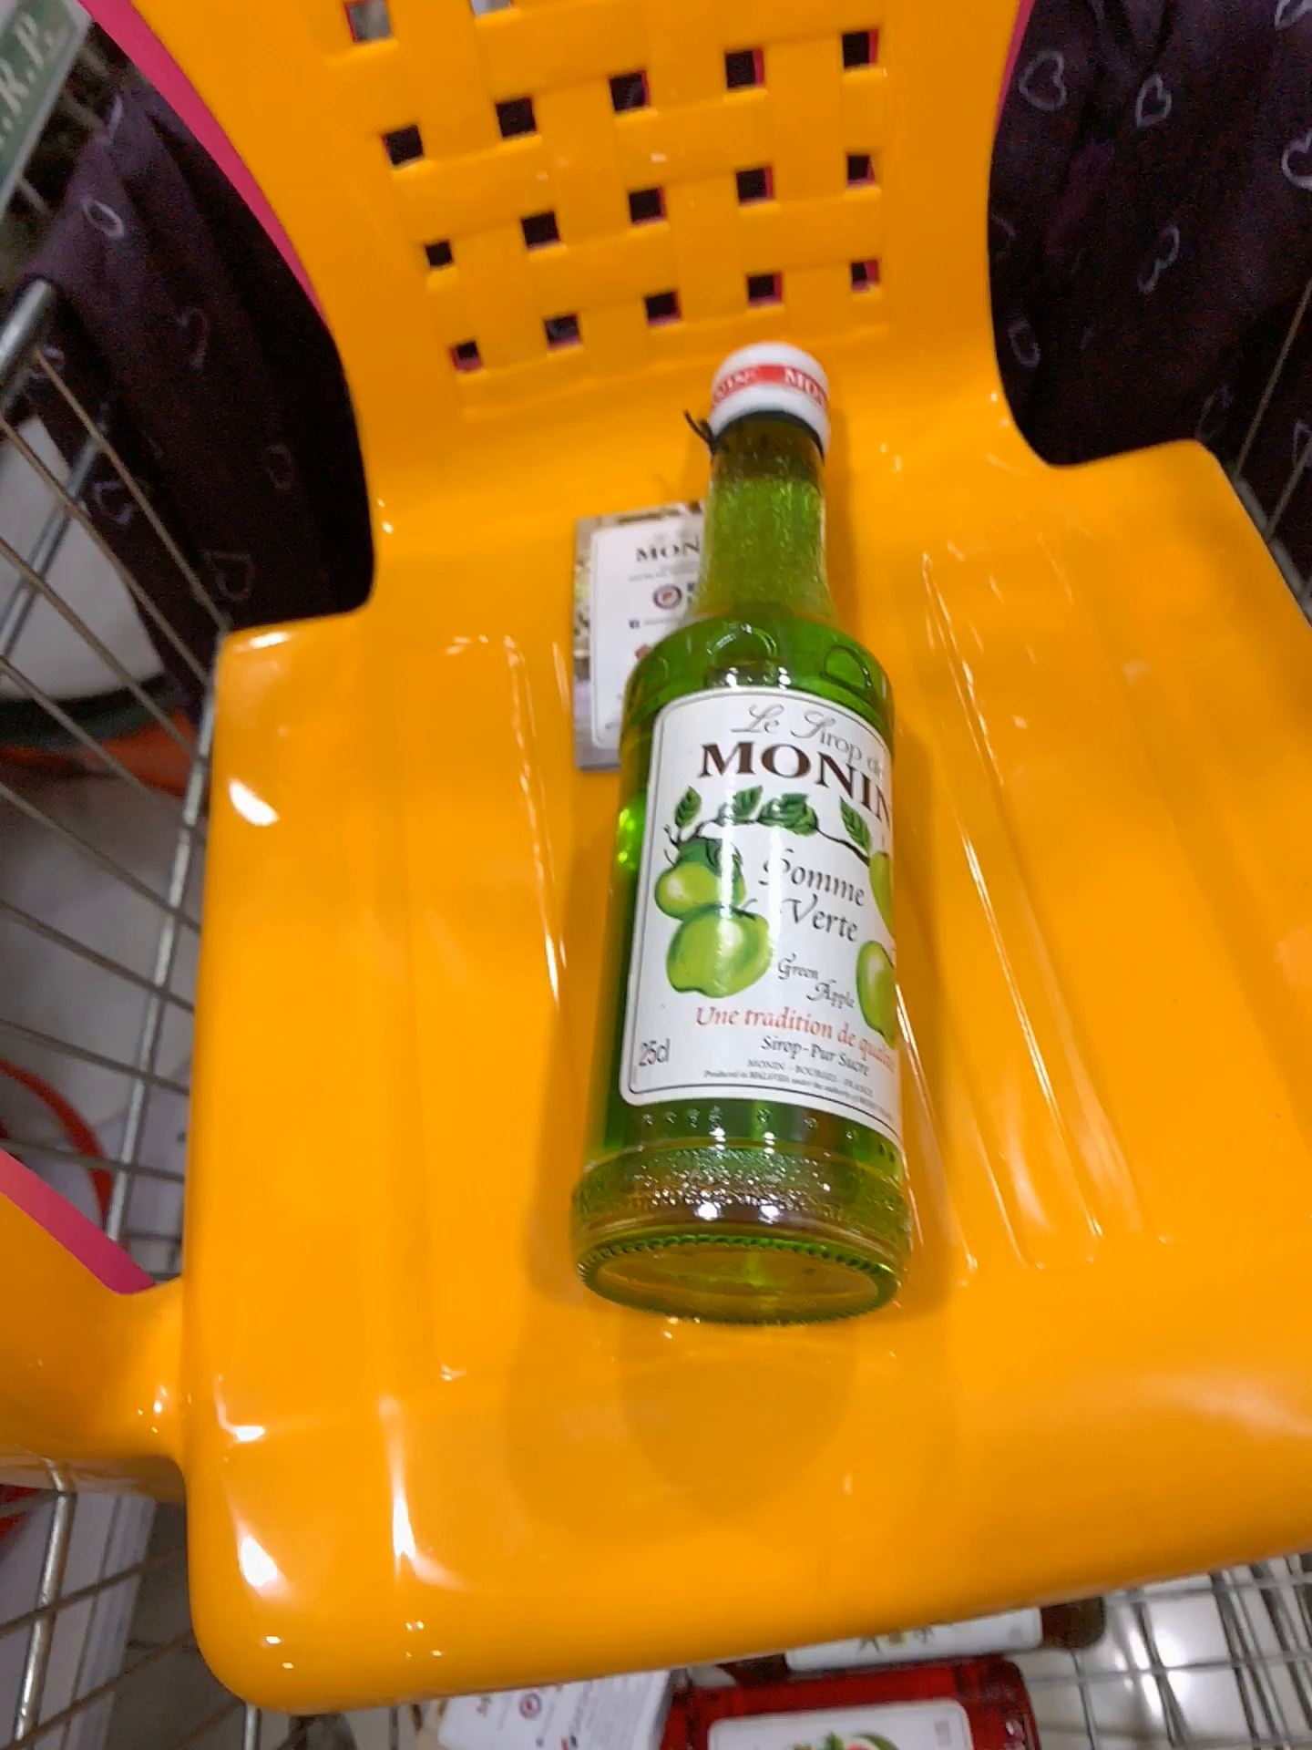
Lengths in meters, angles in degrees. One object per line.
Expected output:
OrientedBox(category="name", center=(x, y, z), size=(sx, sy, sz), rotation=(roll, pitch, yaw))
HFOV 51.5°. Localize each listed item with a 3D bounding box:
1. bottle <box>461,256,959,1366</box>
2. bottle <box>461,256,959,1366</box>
OrientedBox(category="bottle", center=(0.018, -0.020, 0.284), size=(0.060, 0.060, 0.220), rotation=(-27, 48, 44))
OrientedBox(category="bottle", center=(0.018, -0.020, 0.284), size=(0.060, 0.060, 0.220), rotation=(-27, 48, 44))
